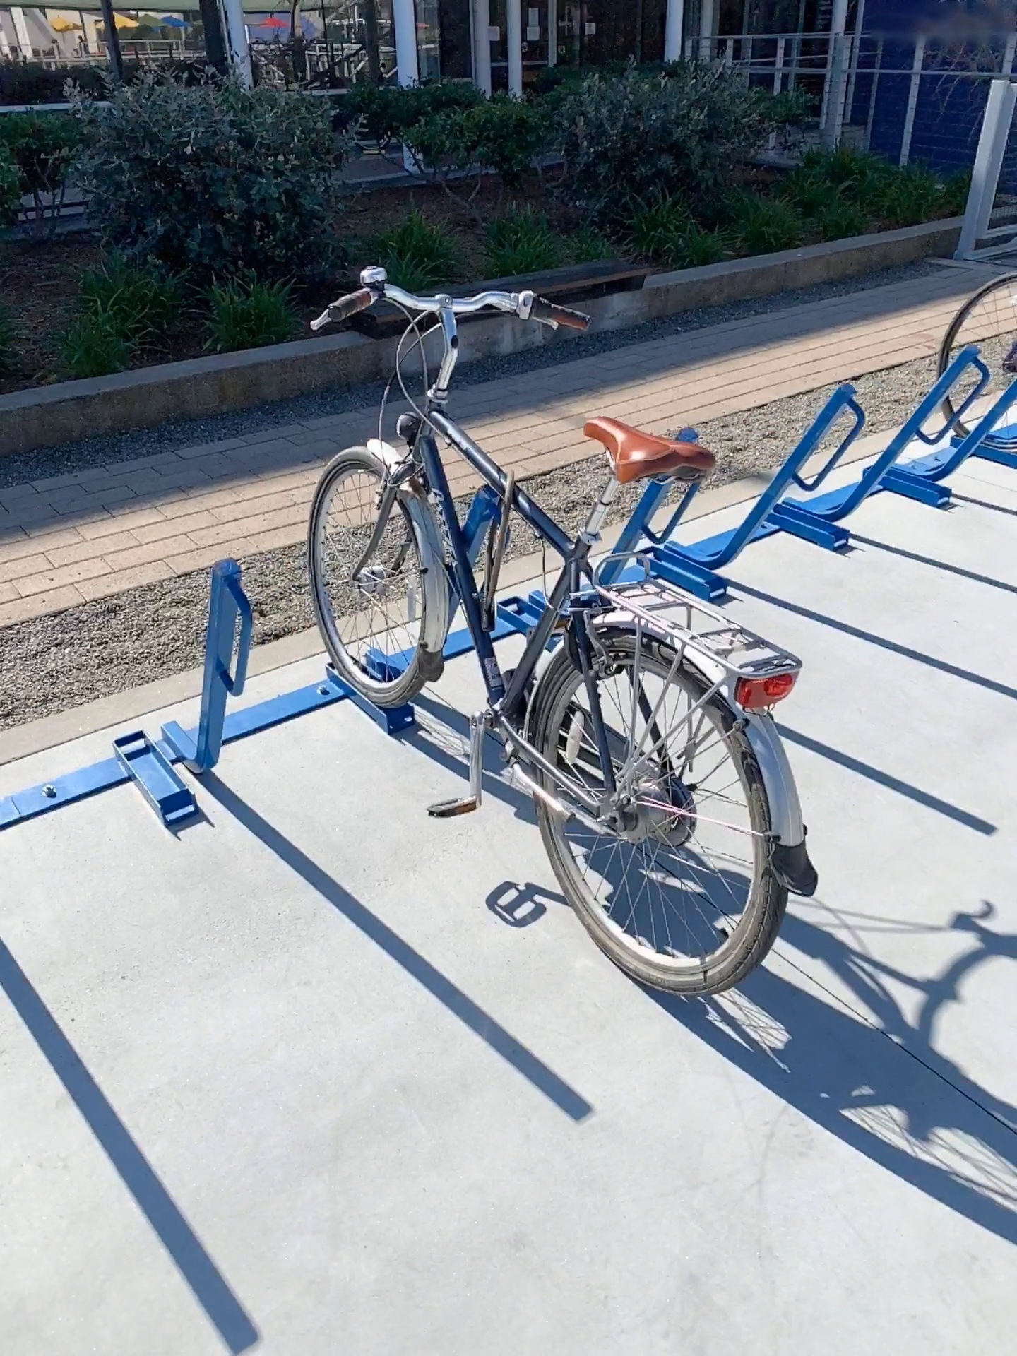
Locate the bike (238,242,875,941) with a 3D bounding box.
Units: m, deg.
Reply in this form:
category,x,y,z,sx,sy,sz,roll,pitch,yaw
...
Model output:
category,x,y,z,sx,sy,sz,roll,pitch,yaw
bike,0.019,-0.261,2.044,0.591,0.915,1.066,-20,37,-27
